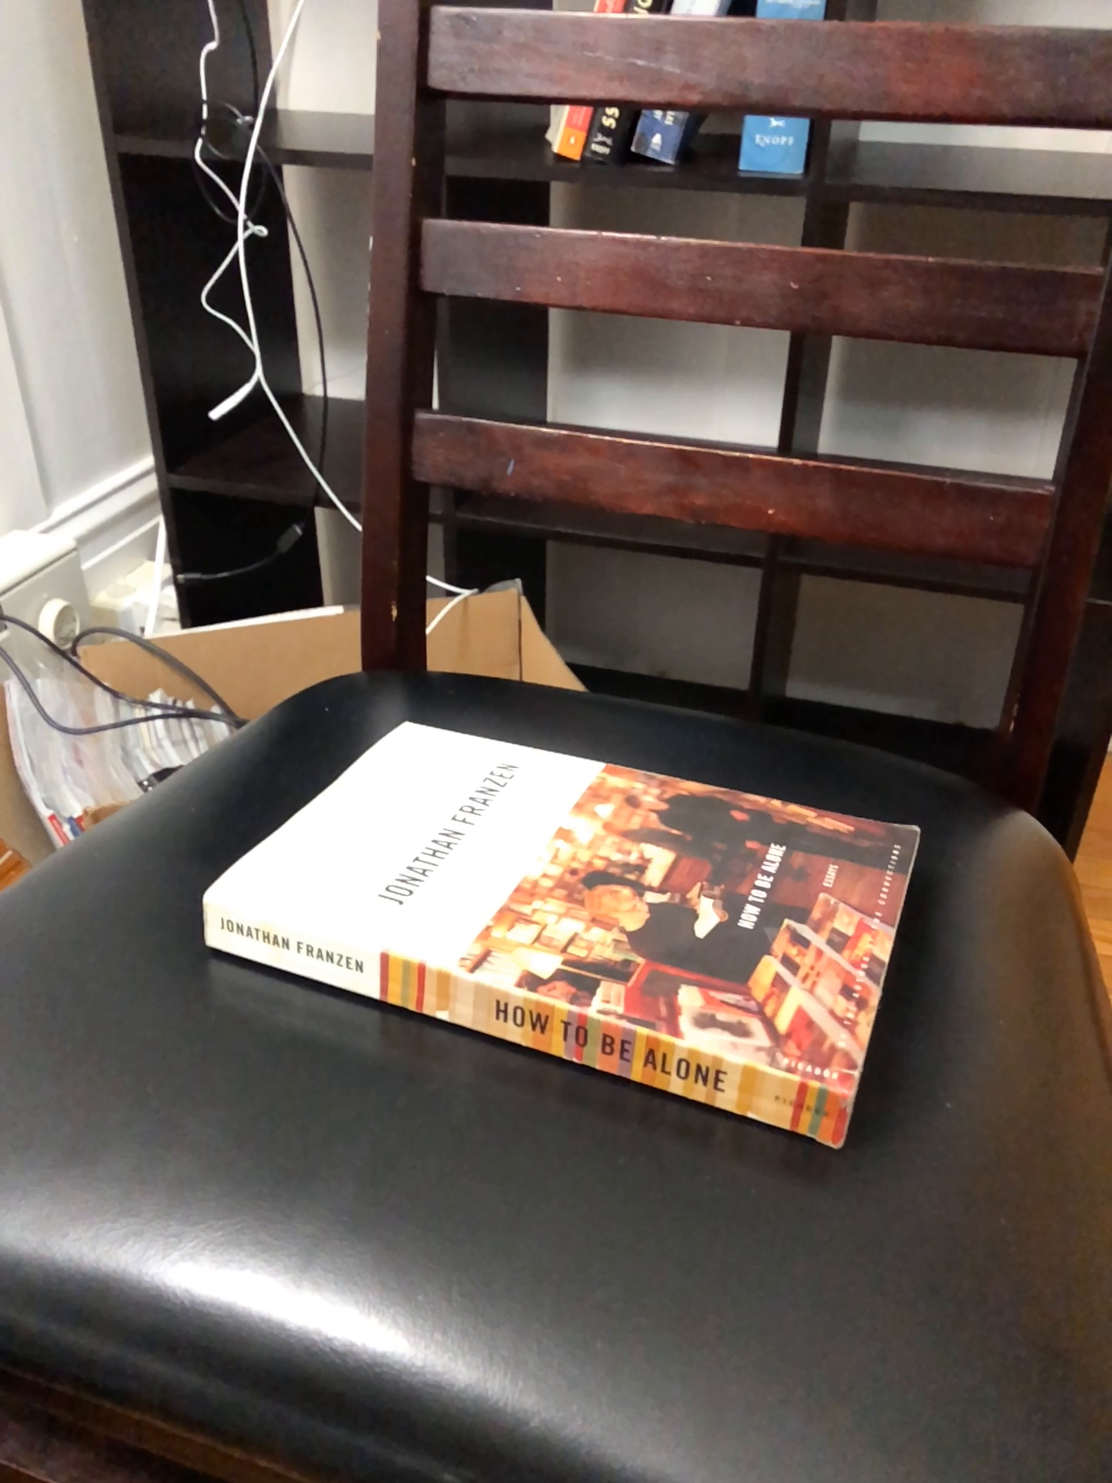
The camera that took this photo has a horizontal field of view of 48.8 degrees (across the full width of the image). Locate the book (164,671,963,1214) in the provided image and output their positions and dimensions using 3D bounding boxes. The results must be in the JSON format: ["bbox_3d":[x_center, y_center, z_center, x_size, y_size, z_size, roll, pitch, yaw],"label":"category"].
[{"bbox_3d":[0.011,0.051,0.429,0.230,0.040,0.161,13,34,18],"label":"book"}]
